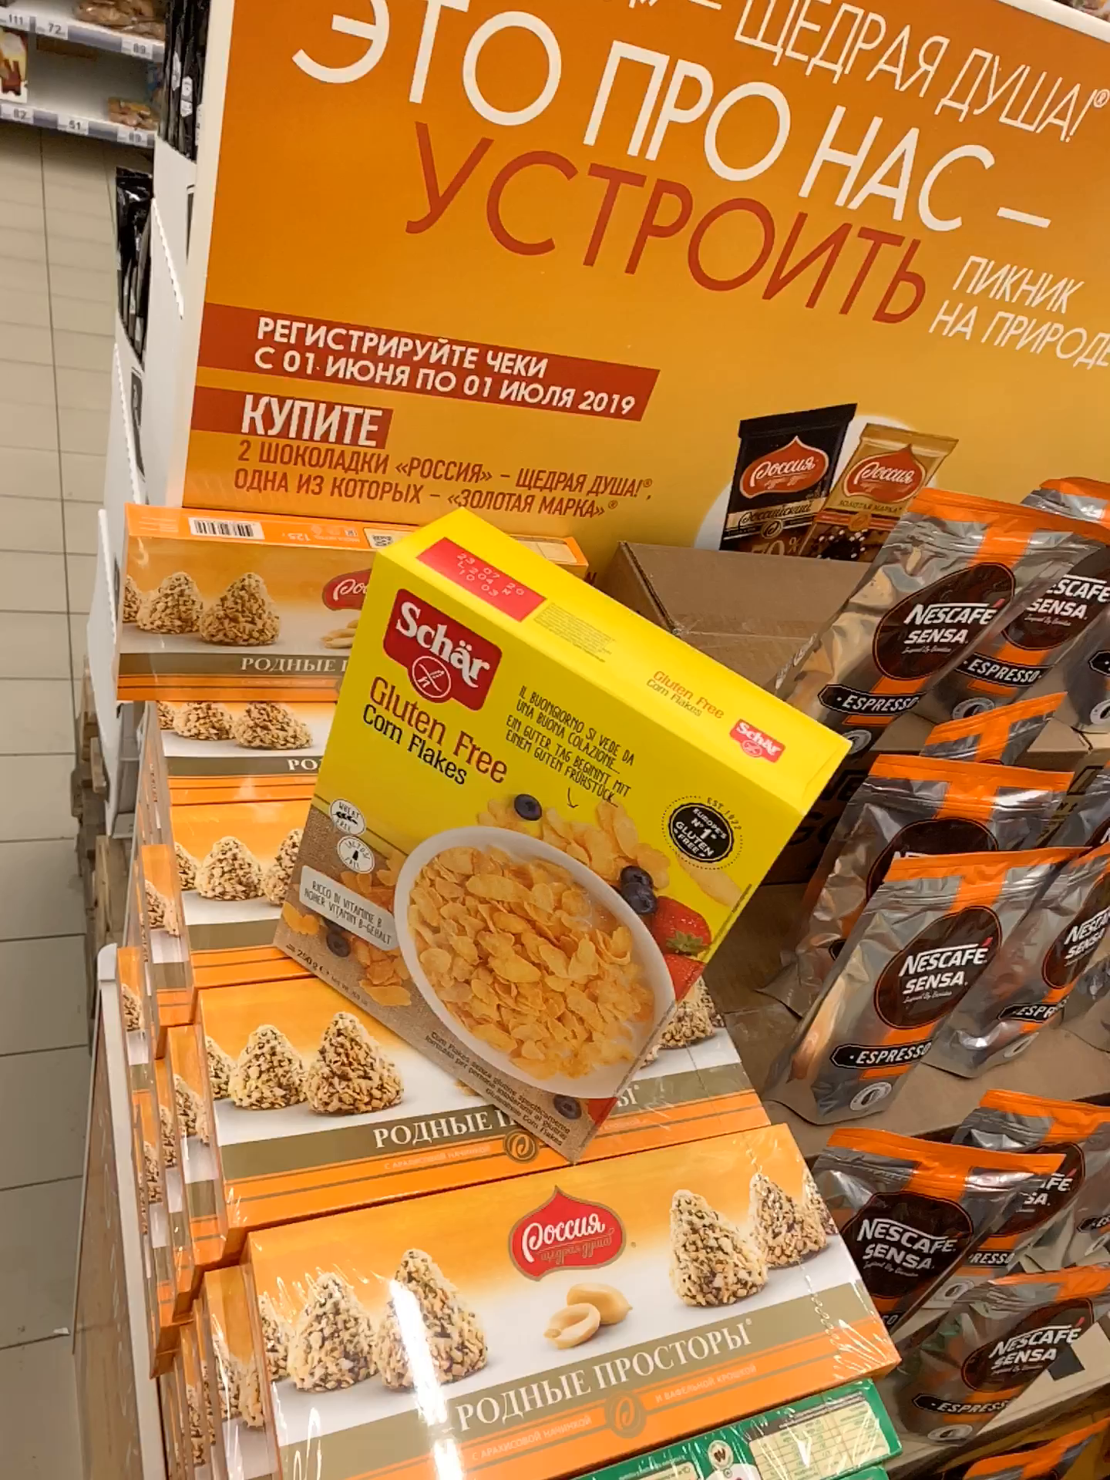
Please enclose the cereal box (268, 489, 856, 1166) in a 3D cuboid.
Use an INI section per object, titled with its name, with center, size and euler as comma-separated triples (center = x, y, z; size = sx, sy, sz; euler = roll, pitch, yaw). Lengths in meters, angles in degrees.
[cereal box]
center = -0.018, 0.052, 0.526
size = 0.200, 0.258, 0.060
euler = 33, 41, 12
